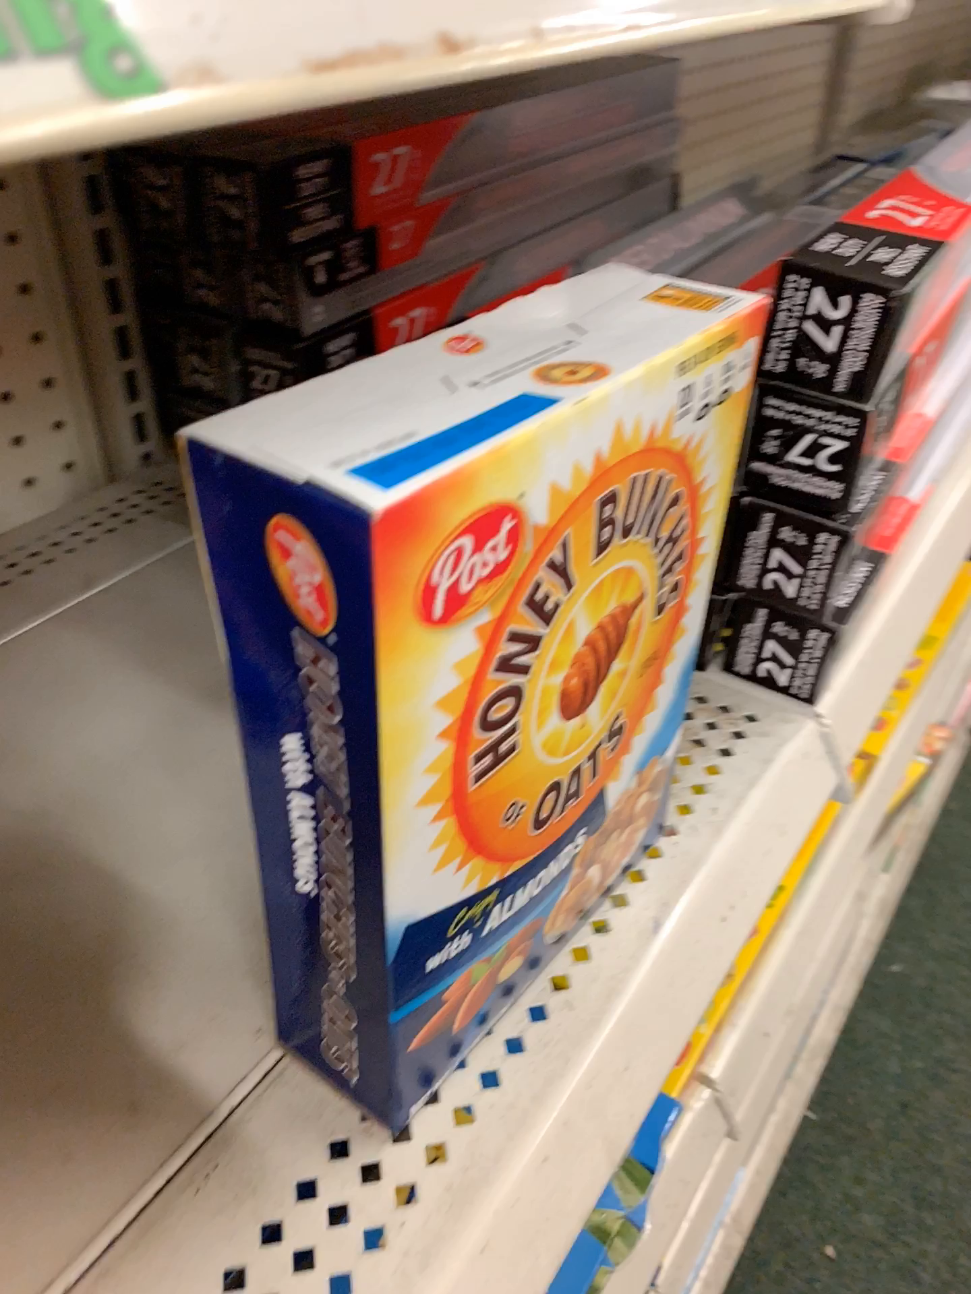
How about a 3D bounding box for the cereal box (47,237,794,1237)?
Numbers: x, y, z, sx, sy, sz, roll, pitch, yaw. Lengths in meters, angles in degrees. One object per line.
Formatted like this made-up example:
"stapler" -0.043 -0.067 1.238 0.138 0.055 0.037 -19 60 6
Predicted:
"cereal box" 0.000 0.020 0.241 0.050 0.189 0.150 26 44 30
